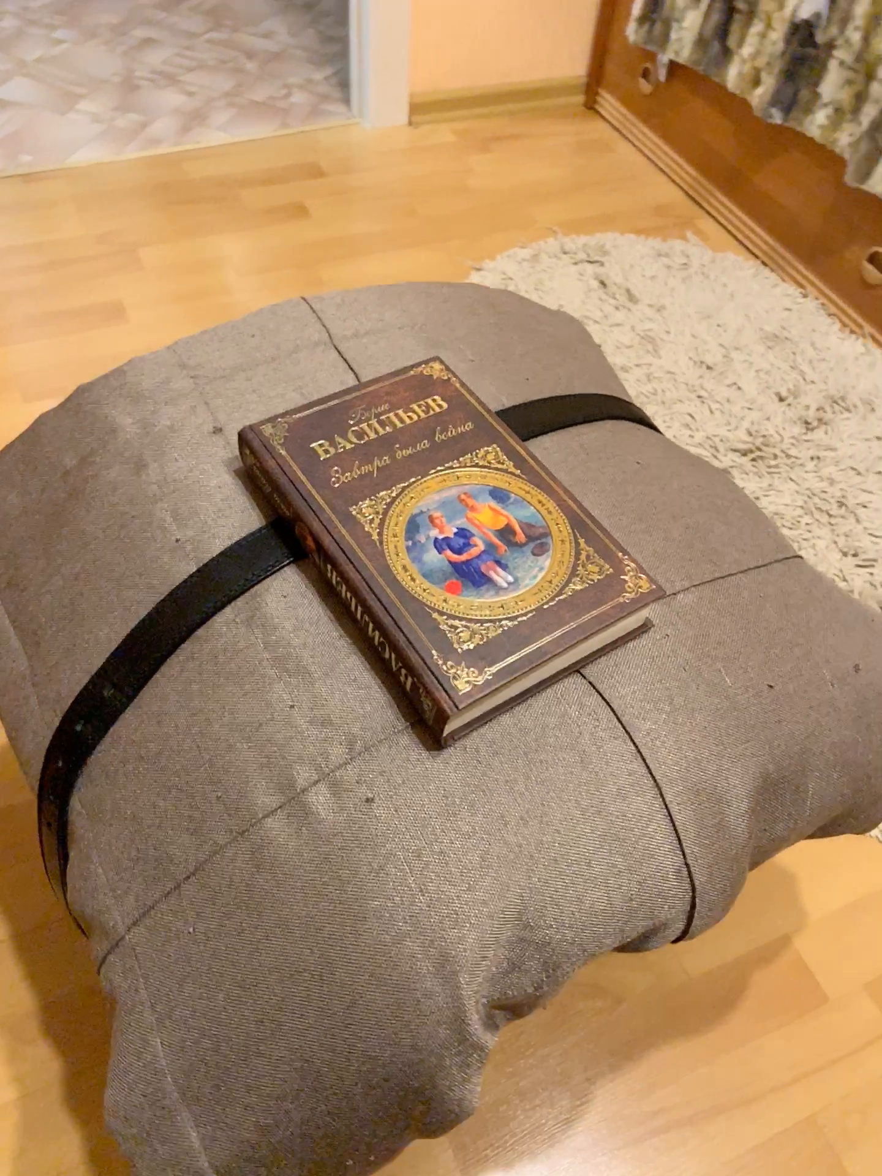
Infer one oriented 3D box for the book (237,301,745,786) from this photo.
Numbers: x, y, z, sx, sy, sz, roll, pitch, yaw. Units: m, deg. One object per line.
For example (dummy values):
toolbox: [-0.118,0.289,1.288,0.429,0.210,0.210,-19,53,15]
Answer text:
book: [0.015,-0.036,0.448,0.140,0.050,0.221,-26,63,-23]
